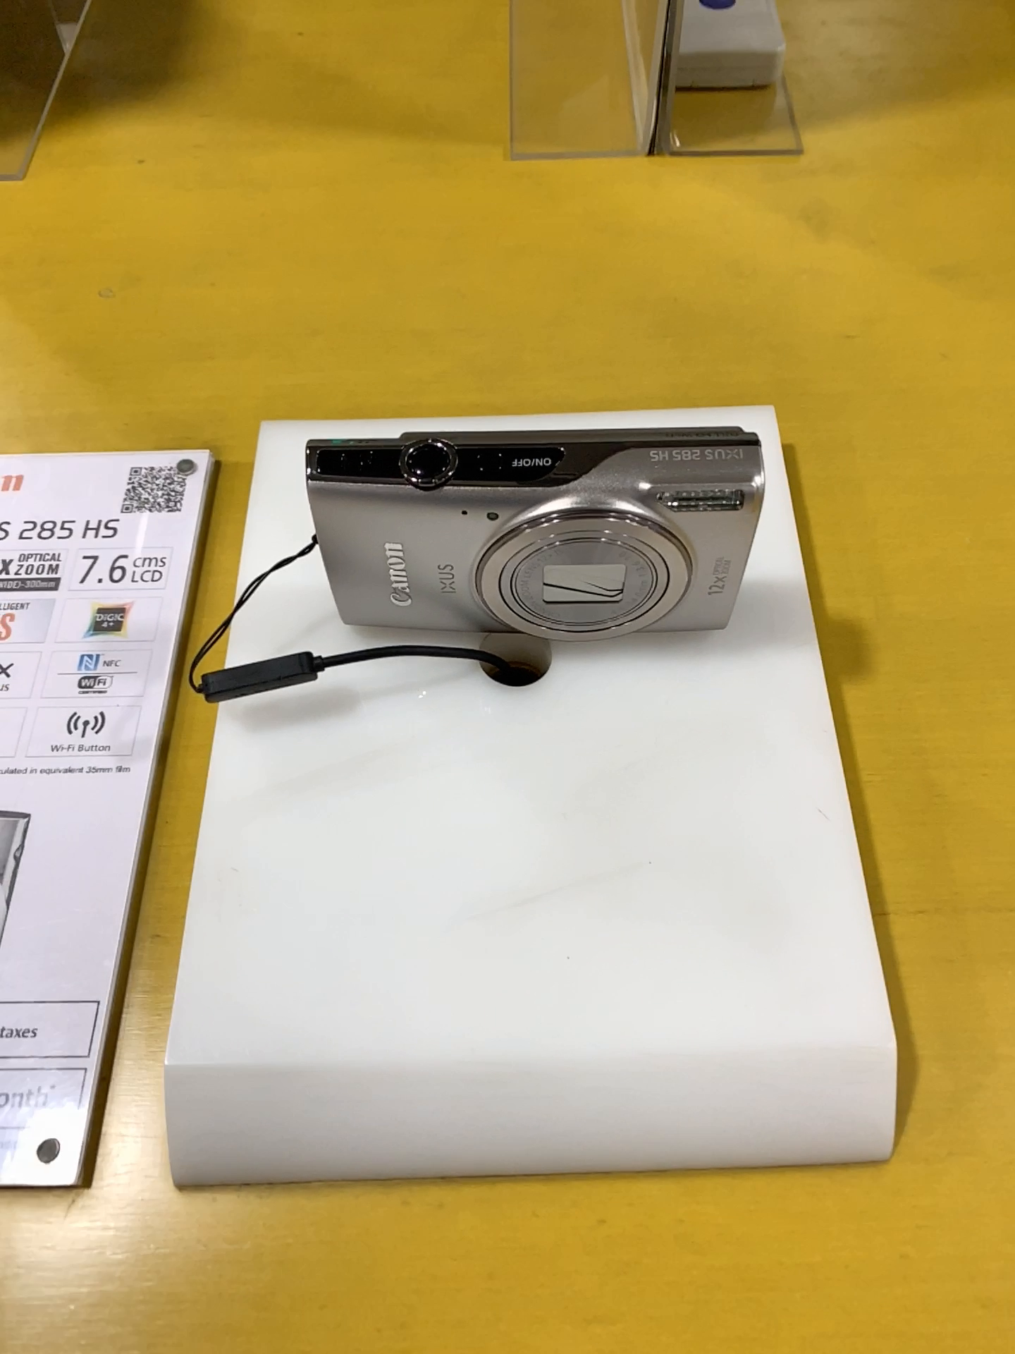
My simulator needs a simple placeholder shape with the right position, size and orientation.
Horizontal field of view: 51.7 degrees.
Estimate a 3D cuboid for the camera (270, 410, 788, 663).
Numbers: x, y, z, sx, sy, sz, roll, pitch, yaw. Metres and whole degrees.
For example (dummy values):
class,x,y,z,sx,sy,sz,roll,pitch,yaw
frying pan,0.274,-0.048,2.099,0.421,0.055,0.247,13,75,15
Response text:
class,x,y,z,sx,sy,sz,roll,pitch,yaw
camera,0.005,-0.029,0.232,0.100,0.050,0.030,0,59,2
